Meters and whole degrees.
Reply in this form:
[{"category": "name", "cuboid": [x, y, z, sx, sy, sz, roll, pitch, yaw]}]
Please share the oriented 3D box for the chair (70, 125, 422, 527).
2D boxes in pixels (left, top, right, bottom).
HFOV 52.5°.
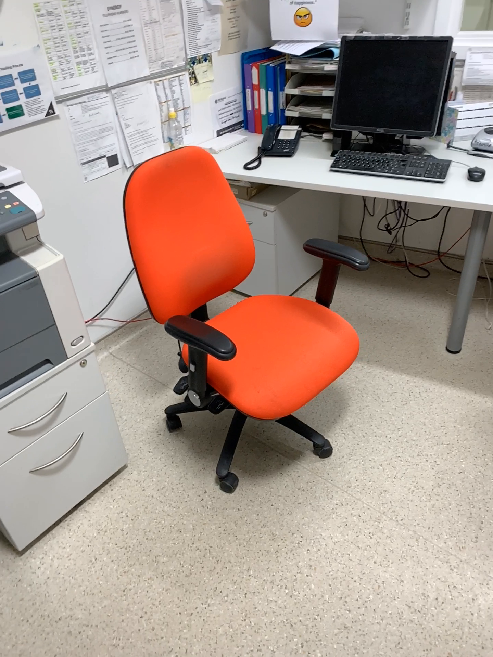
[{"category": "chair", "cuboid": [0.013, -0.057, 1.598, 0.653, 0.893, 0.688, -31, 43, -32]}]
